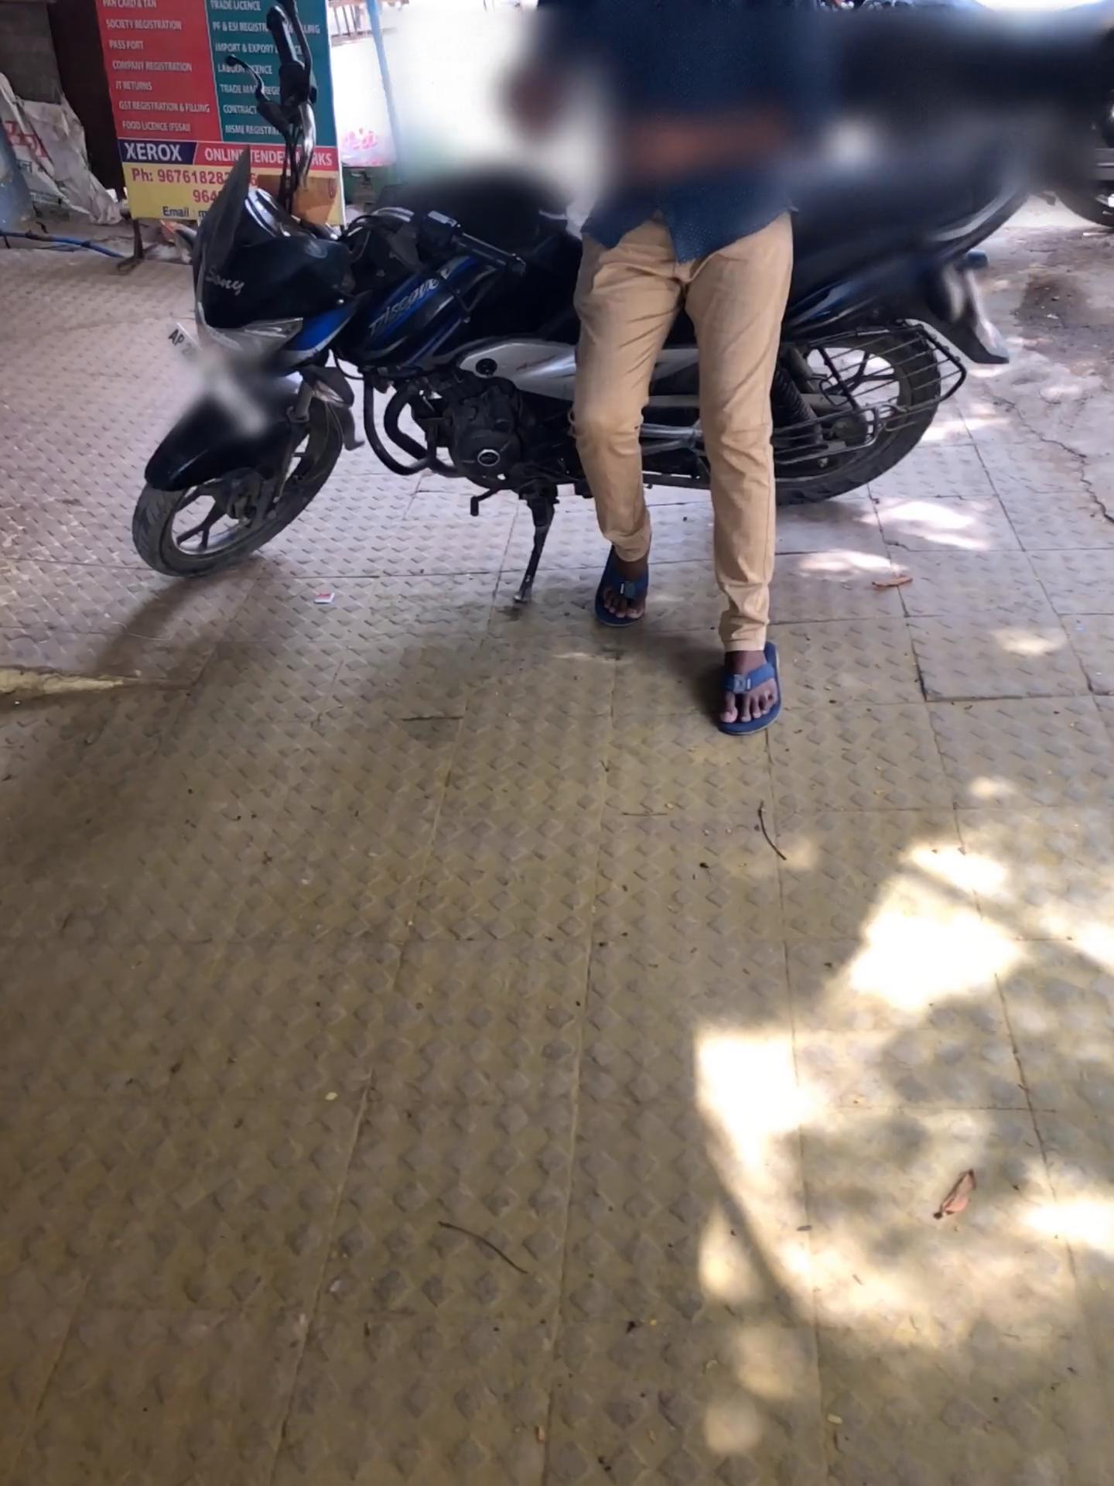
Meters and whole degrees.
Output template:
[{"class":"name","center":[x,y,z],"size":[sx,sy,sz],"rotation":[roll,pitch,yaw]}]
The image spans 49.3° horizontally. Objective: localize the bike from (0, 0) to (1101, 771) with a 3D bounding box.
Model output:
[{"class":"bike","center":[-0.037,-0.804,2.401],"size":[1.743,1.175,0.788],"rotation":[-11,37,-2]}]
